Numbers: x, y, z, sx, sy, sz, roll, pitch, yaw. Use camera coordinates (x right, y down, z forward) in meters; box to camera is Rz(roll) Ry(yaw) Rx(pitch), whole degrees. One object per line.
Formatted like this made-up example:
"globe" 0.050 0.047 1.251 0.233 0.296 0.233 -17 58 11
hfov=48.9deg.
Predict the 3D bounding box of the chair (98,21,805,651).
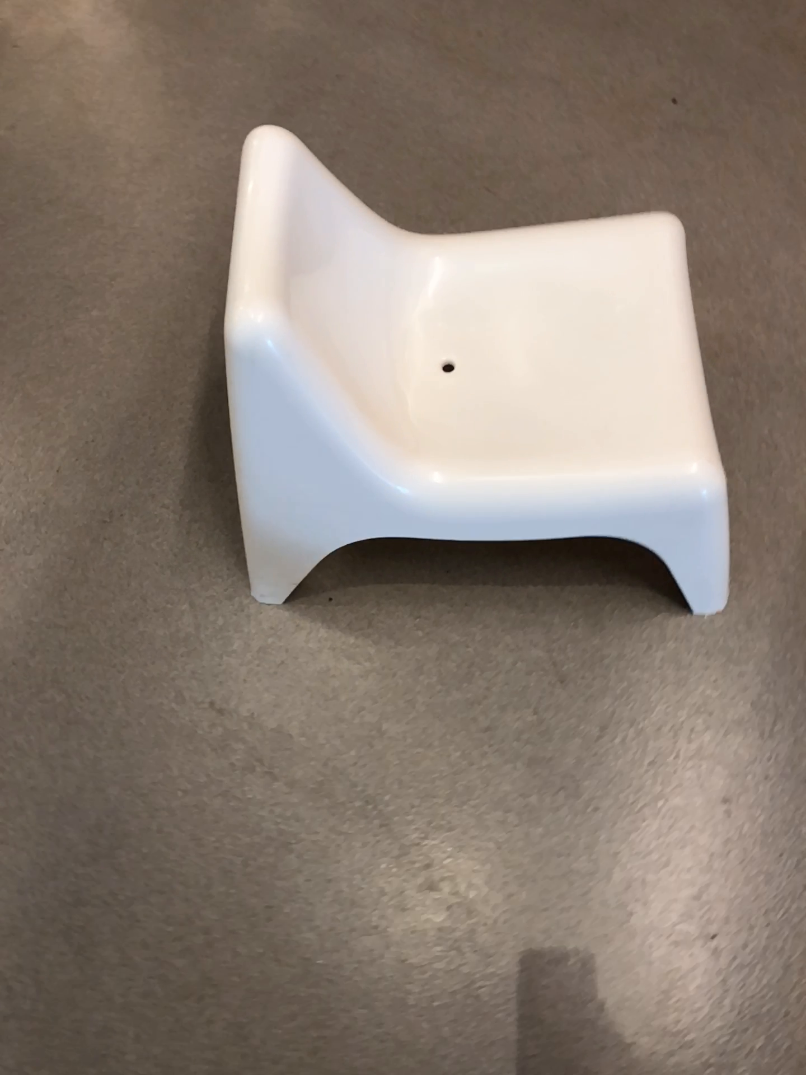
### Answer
"chair" 0.086 -0.200 1.039 0.690 0.400 0.531 -4 66 4
